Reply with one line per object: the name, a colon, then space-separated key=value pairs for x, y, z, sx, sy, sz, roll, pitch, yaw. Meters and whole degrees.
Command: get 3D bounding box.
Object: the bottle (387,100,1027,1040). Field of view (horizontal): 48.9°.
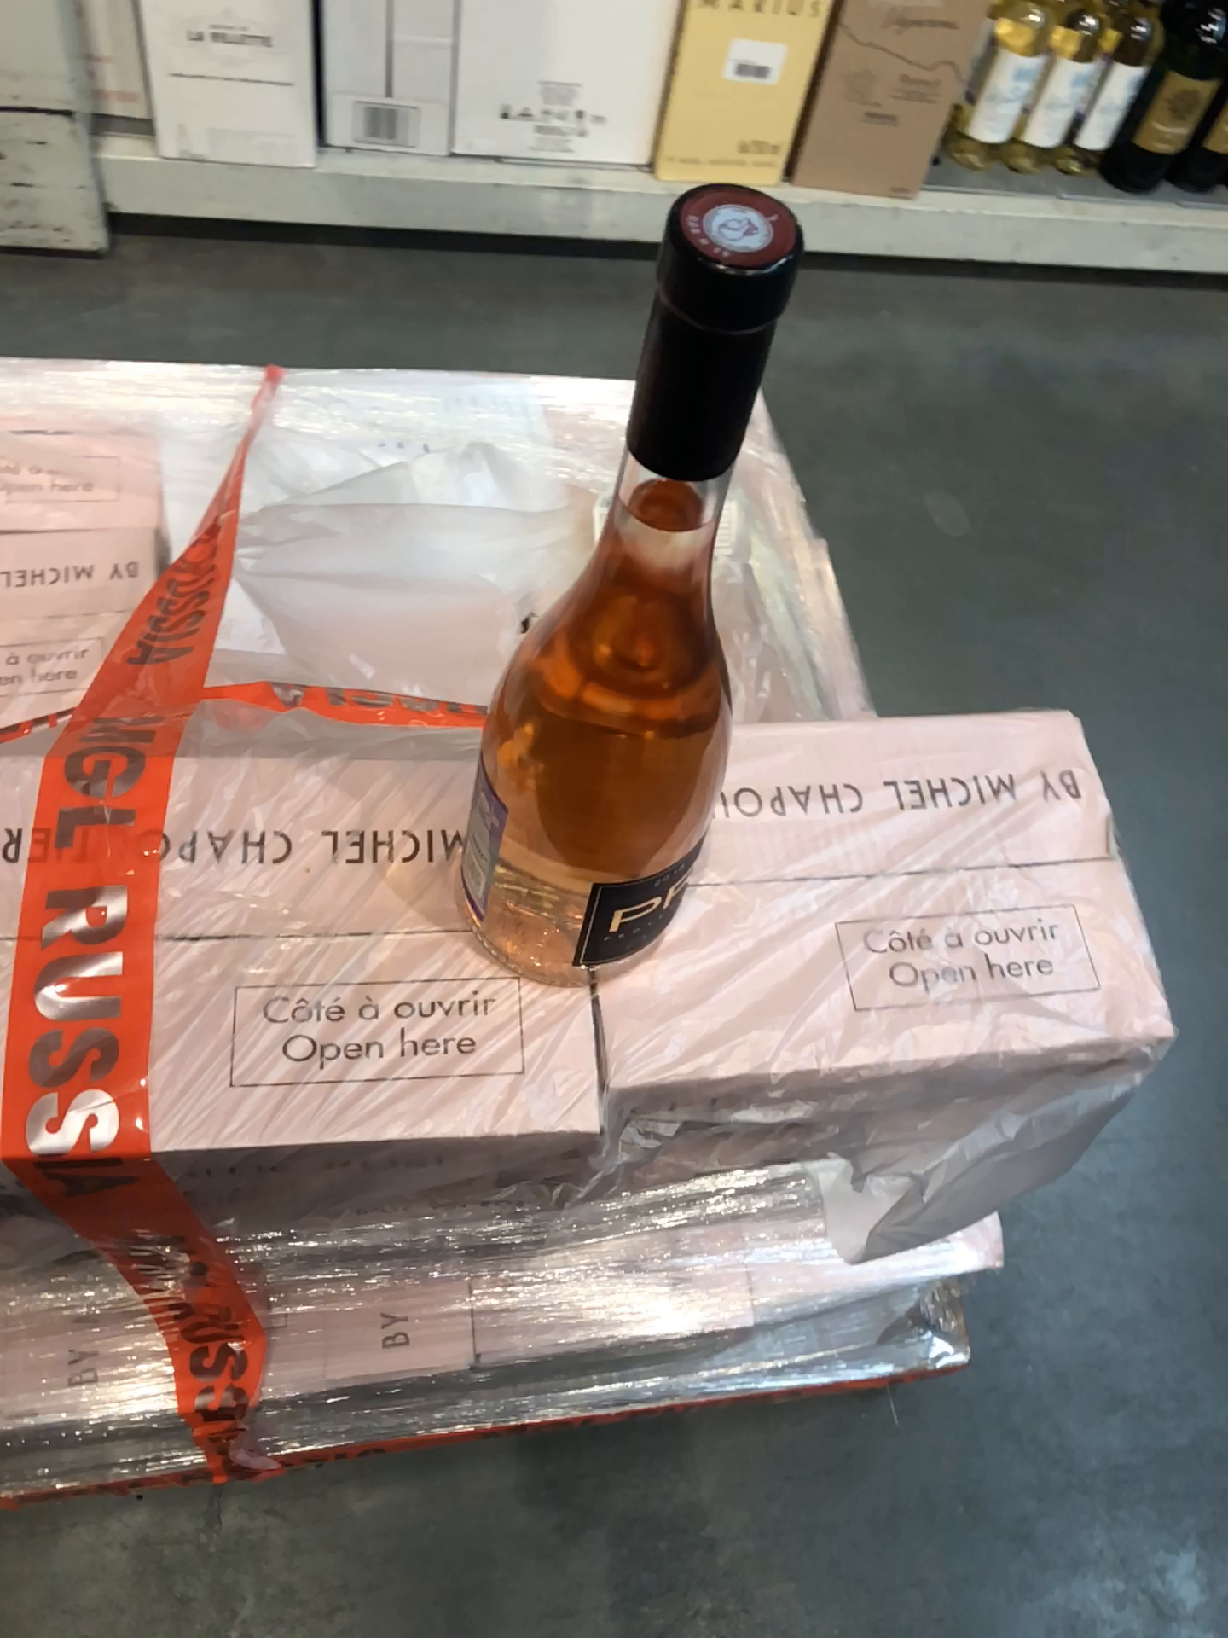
bottle: x=0.003 y=-0.046 z=0.413 sx=0.096 sy=0.279 sz=0.100 roll=4 pitch=60 yaw=-8
